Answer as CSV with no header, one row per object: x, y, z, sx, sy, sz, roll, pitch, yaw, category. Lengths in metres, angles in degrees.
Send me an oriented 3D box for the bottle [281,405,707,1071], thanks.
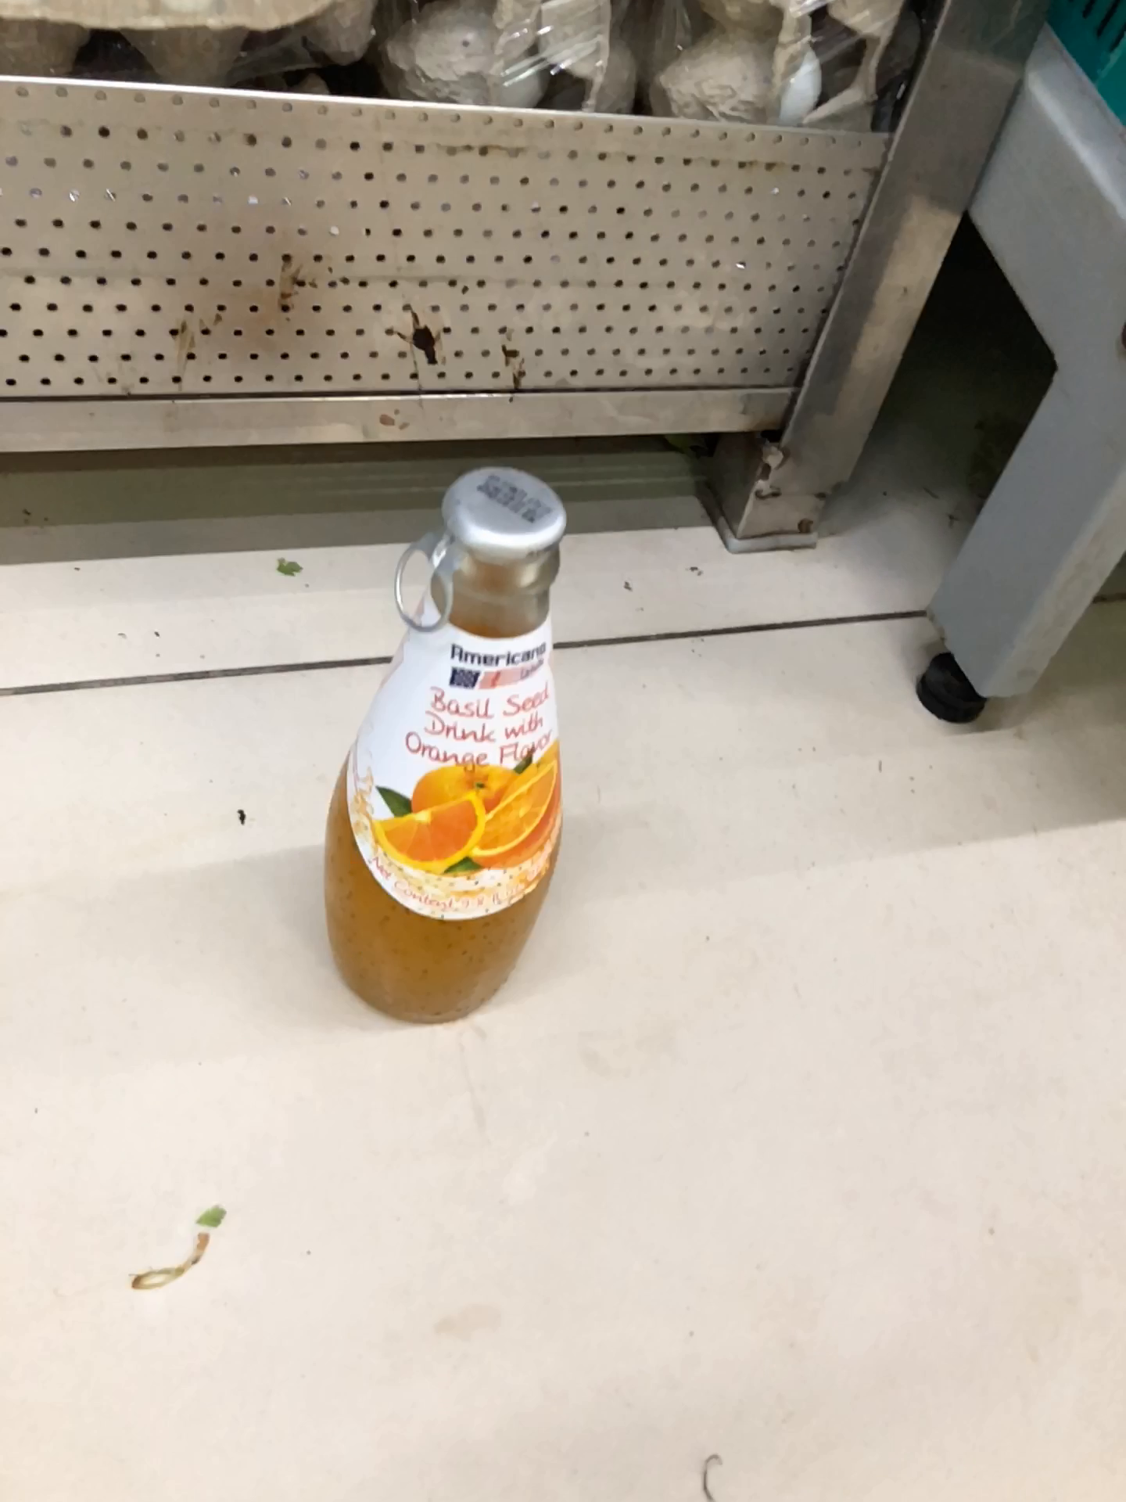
-0.030,0.004,0.329,0.070,0.169,0.070,7,47,-8,bottle
